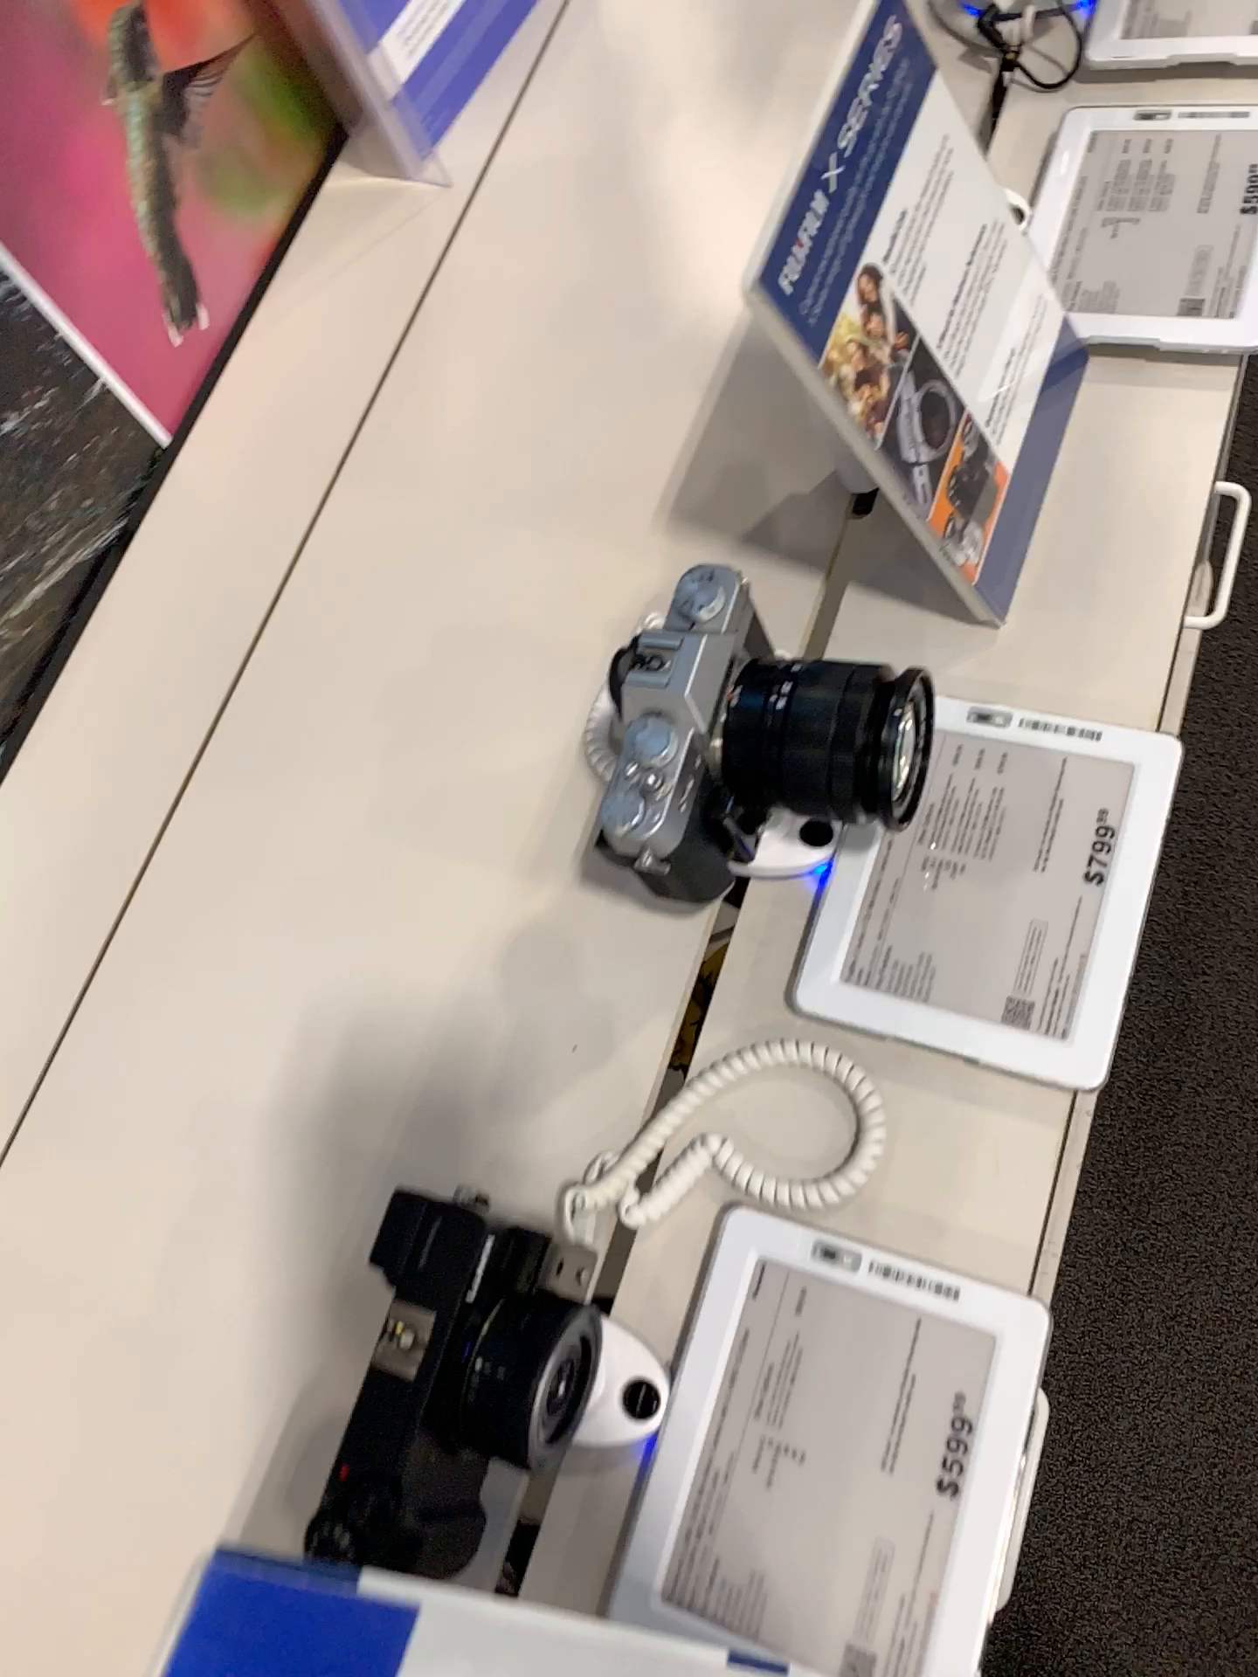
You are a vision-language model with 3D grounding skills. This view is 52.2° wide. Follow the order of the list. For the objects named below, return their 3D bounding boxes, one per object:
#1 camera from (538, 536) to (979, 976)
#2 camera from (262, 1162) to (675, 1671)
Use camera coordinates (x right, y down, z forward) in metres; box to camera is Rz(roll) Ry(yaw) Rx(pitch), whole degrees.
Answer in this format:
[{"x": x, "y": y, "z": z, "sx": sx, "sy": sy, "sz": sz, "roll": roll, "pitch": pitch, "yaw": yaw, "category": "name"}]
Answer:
[{"x": 0.053, "y": -0.031, "z": 0.470, "sx": 0.120, "sy": 0.080, "sz": 0.120, "roll": 11, "pitch": 71, "yaw": 21, "category": "camera"}, {"x": -0.045, "y": 0.180, "z": 0.413, "sx": 0.070, "sy": 0.080, "sz": 0.120, "roll": 12, "pitch": 71, "yaw": 22, "category": "camera"}]
